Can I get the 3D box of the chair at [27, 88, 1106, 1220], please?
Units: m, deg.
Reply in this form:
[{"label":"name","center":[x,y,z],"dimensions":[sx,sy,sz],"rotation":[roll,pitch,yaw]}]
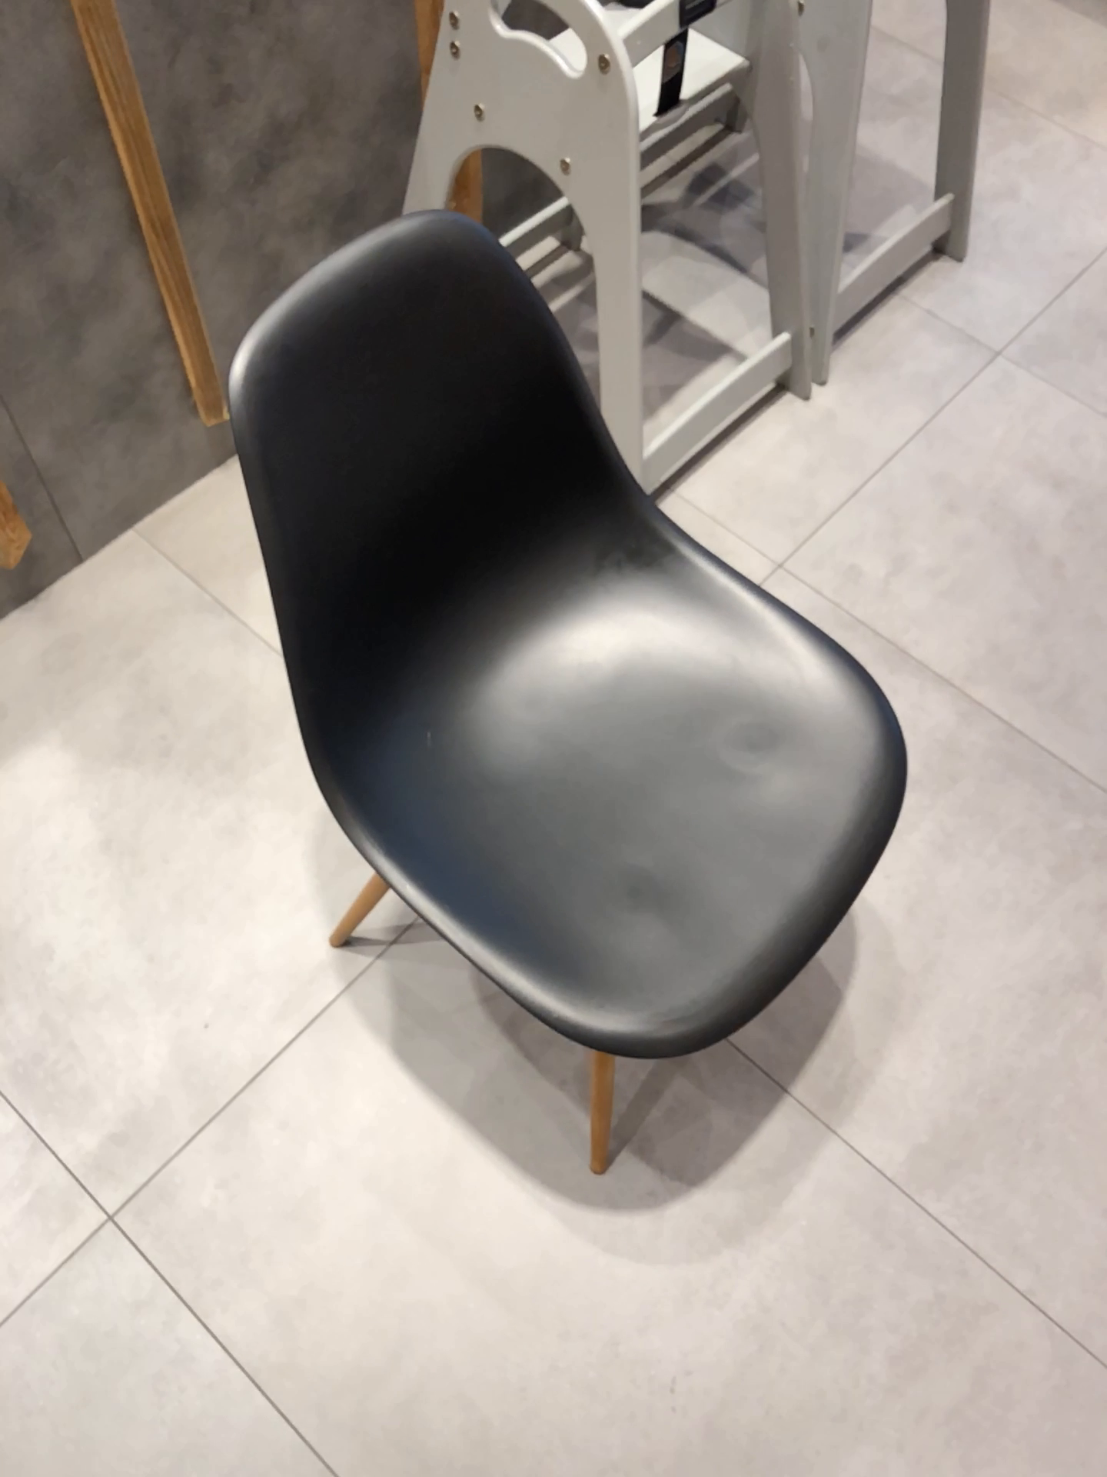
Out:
[{"label":"chair","center":[0.027,-0.010,1.127],"dimensions":[0.564,0.758,0.509],"rotation":[37,65,16]}]
